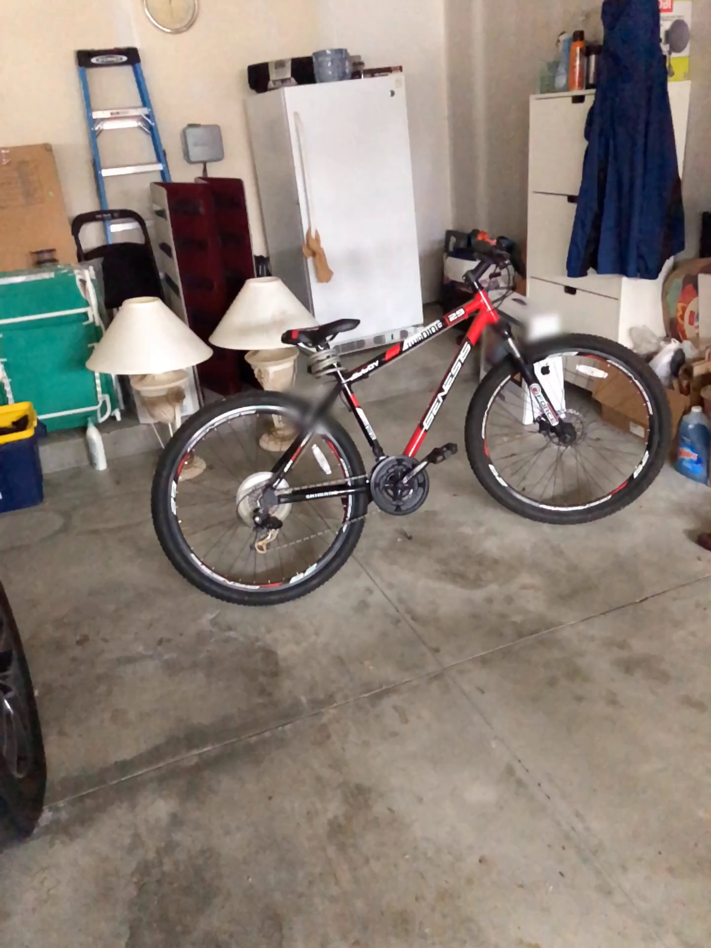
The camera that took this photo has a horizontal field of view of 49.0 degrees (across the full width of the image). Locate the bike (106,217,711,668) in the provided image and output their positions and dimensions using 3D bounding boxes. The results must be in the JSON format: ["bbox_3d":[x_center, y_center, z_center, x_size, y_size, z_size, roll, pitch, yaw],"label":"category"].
[{"bbox_3d":[0.217,-0.150,2.483,1.668,1.054,0.592,-11,24,-10],"label":"bike"}]
